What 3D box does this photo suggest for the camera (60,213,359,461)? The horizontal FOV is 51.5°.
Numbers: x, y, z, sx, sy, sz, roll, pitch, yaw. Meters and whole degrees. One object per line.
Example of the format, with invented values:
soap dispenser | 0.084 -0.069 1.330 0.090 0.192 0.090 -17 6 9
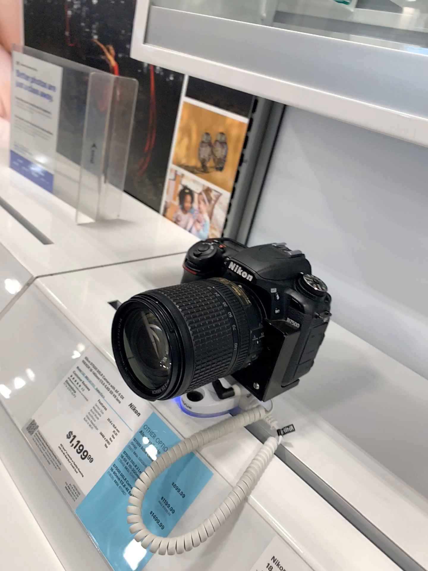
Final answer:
camera | 0.000 0.018 0.345 0.131 0.107 0.173 32 26 33
